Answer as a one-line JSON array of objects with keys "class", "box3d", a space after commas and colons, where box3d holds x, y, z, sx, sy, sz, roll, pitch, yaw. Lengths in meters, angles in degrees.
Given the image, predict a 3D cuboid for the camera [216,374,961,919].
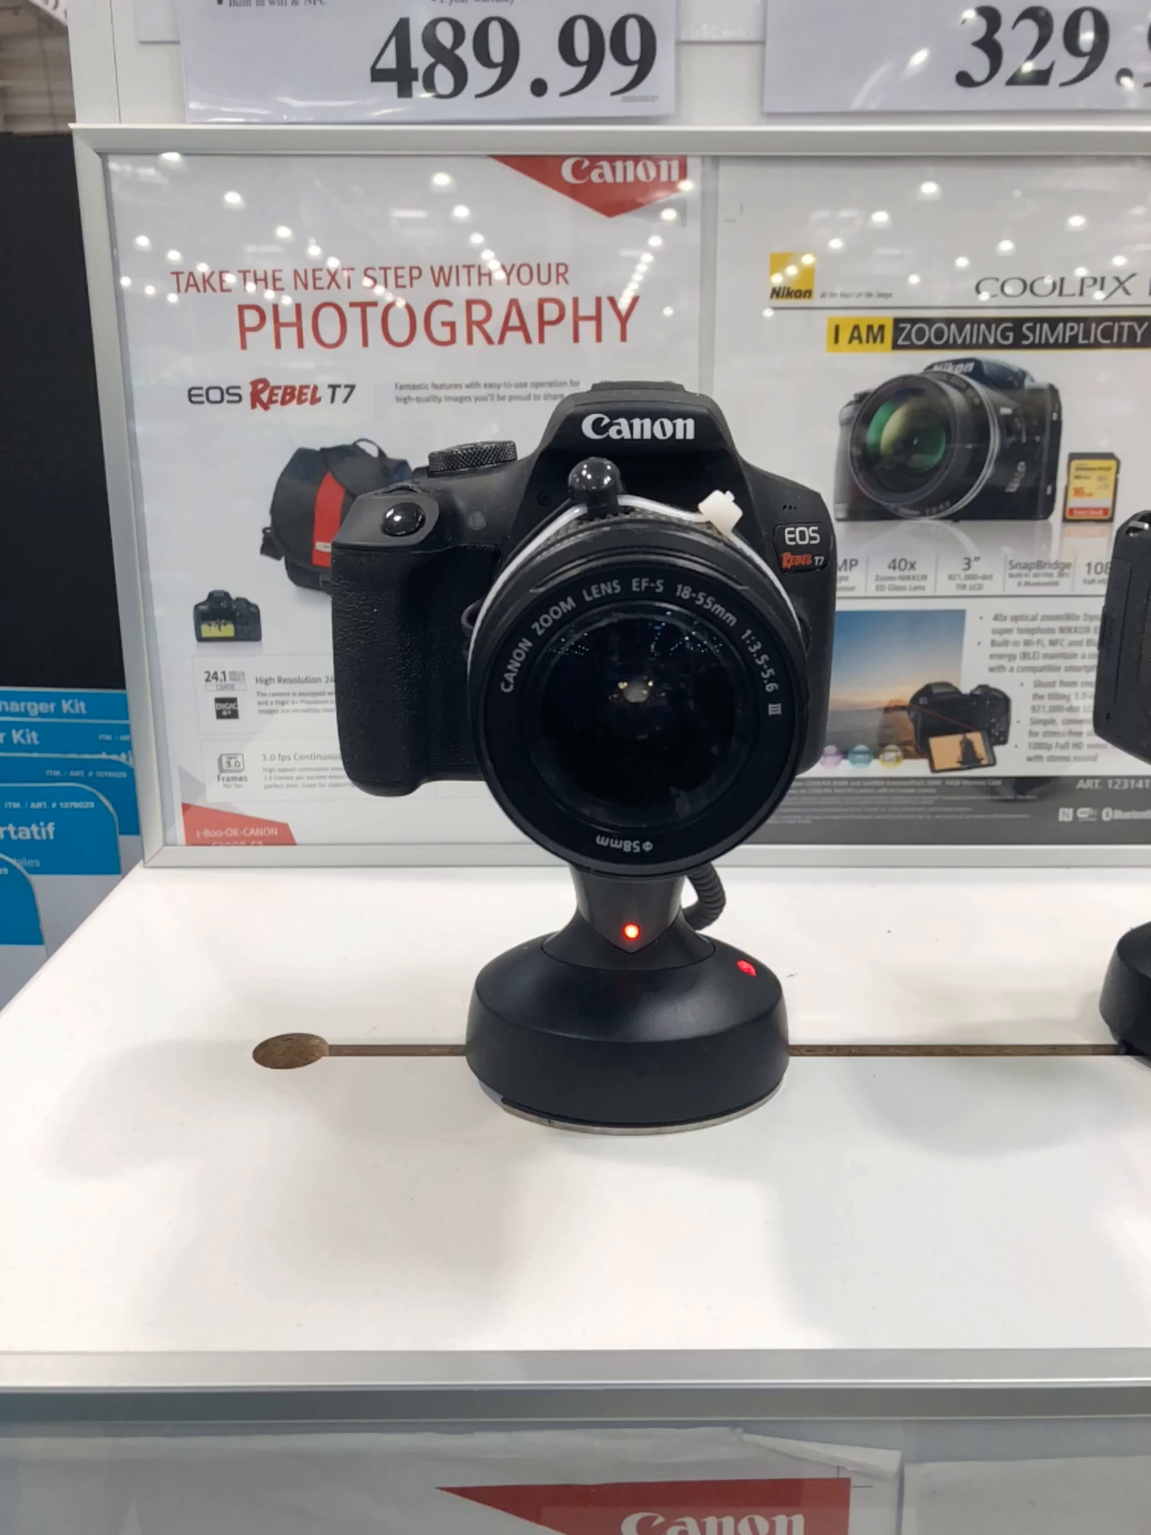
[{"class": "camera", "box3d": [0.001, -0.036, 0.294, 0.130, 0.100, 0.120, -1, 16, -2]}]
